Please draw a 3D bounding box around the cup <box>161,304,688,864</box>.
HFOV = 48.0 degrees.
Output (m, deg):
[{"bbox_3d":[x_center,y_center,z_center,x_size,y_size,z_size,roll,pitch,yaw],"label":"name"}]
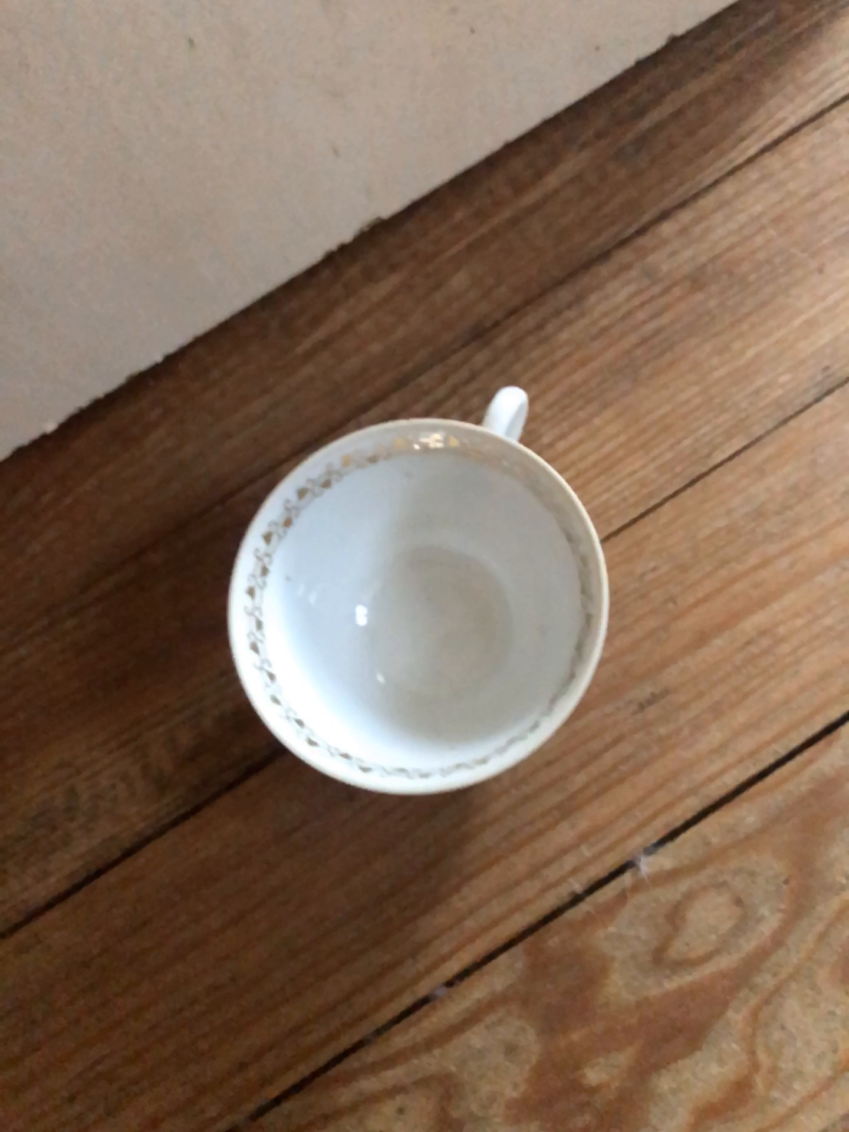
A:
[{"bbox_3d":[0.003,0.004,0.222,0.080,0.040,0.100,21,78,12],"label":"cup"}]
